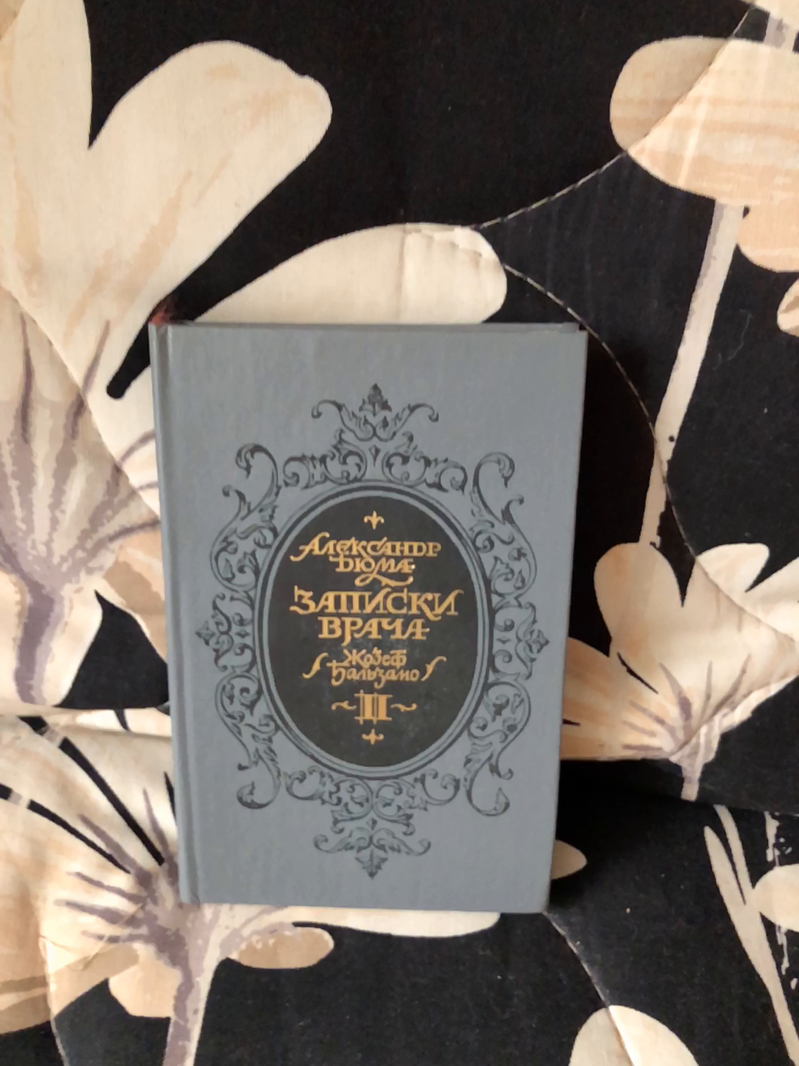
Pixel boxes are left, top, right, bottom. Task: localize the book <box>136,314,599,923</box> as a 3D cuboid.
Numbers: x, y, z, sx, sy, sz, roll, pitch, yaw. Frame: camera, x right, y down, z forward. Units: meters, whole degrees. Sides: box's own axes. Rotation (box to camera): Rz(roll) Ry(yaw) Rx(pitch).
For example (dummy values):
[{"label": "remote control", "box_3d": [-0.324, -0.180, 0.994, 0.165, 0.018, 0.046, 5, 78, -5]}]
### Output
[{"label": "book", "box_3d": [-0.012, 0.034, 0.311, 0.140, 0.030, 0.210, 1, 105, 0]}]
